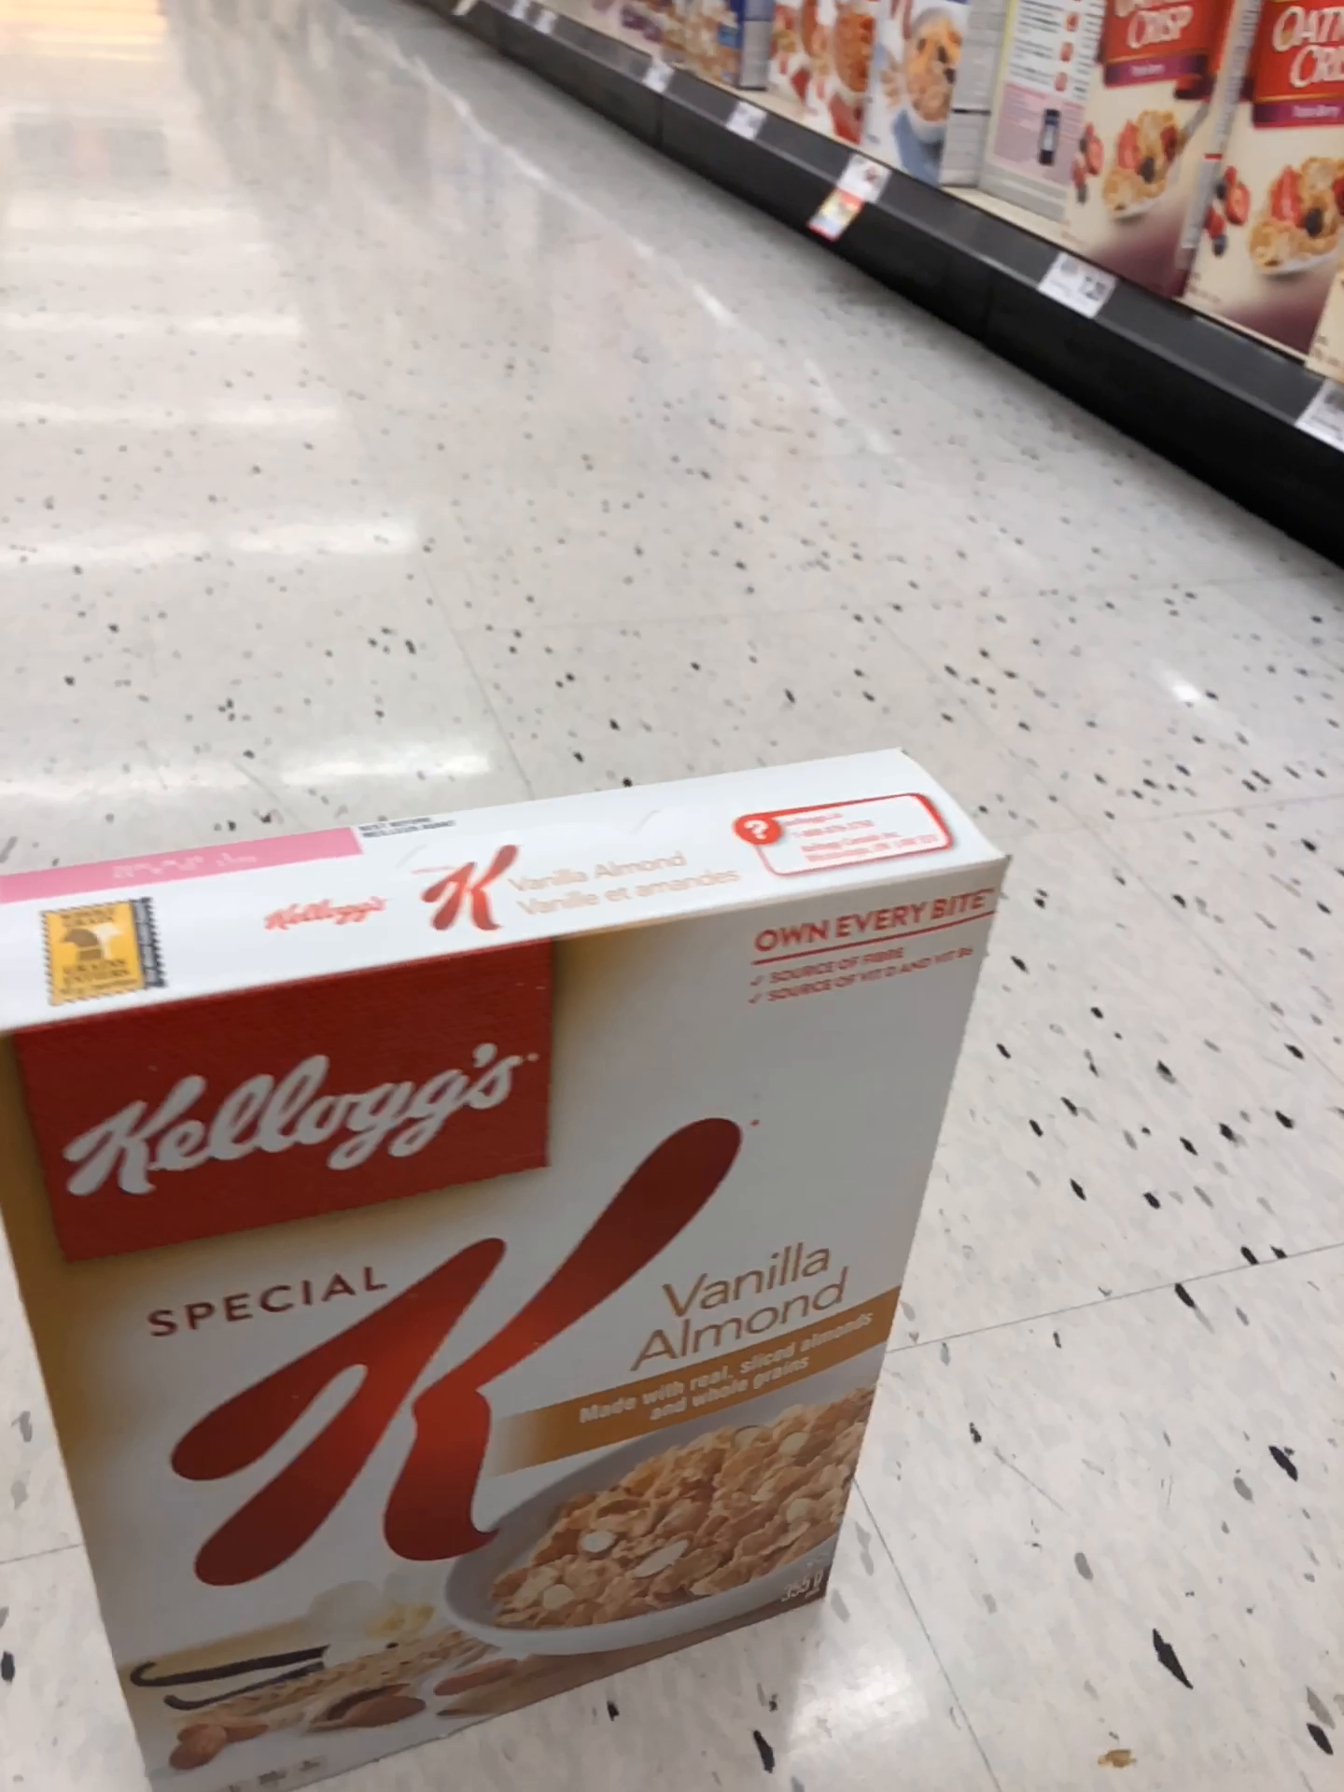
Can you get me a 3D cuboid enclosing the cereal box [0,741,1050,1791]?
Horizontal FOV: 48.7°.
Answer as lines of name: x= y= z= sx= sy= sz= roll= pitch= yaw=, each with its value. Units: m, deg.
cereal box: x=-0.038 y=0.102 z=0.342 sx=0.200 sy=0.258 sz=0.050 roll=-9 pitch=36 yaw=-21
